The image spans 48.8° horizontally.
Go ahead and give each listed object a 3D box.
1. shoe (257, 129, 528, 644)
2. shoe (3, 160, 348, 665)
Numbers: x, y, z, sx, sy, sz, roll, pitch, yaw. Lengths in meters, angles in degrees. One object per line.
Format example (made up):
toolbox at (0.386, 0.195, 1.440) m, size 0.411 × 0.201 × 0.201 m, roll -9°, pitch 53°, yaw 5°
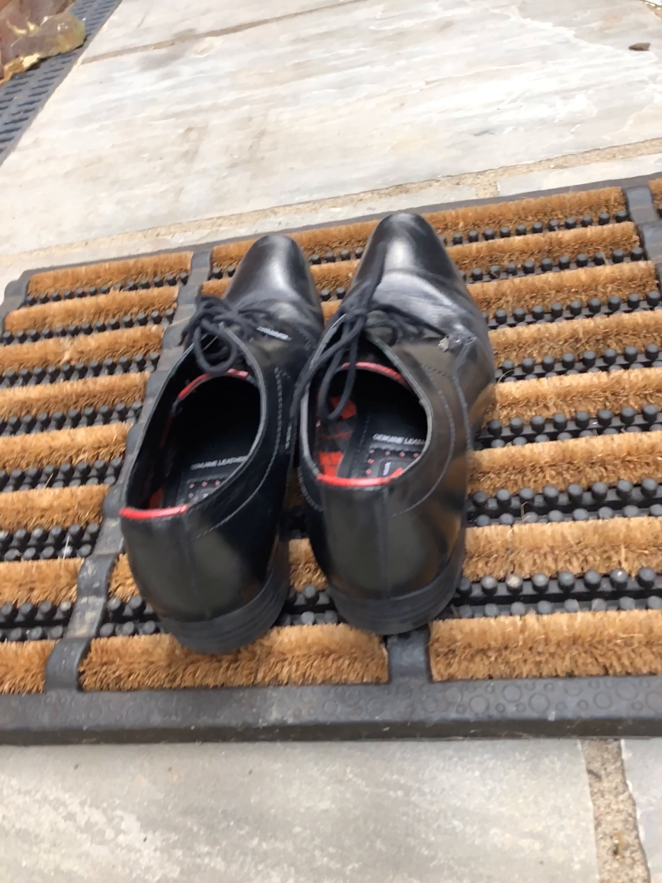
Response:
shoe at (0.044, -0.050, 0.406) m, size 0.100 × 0.099 × 0.302 m, roll -4°, pitch 46°, yaw 12°
shoe at (-0.059, -0.036, 0.420) m, size 0.100 × 0.099 × 0.302 m, roll -4°, pitch 46°, yaw 12°
